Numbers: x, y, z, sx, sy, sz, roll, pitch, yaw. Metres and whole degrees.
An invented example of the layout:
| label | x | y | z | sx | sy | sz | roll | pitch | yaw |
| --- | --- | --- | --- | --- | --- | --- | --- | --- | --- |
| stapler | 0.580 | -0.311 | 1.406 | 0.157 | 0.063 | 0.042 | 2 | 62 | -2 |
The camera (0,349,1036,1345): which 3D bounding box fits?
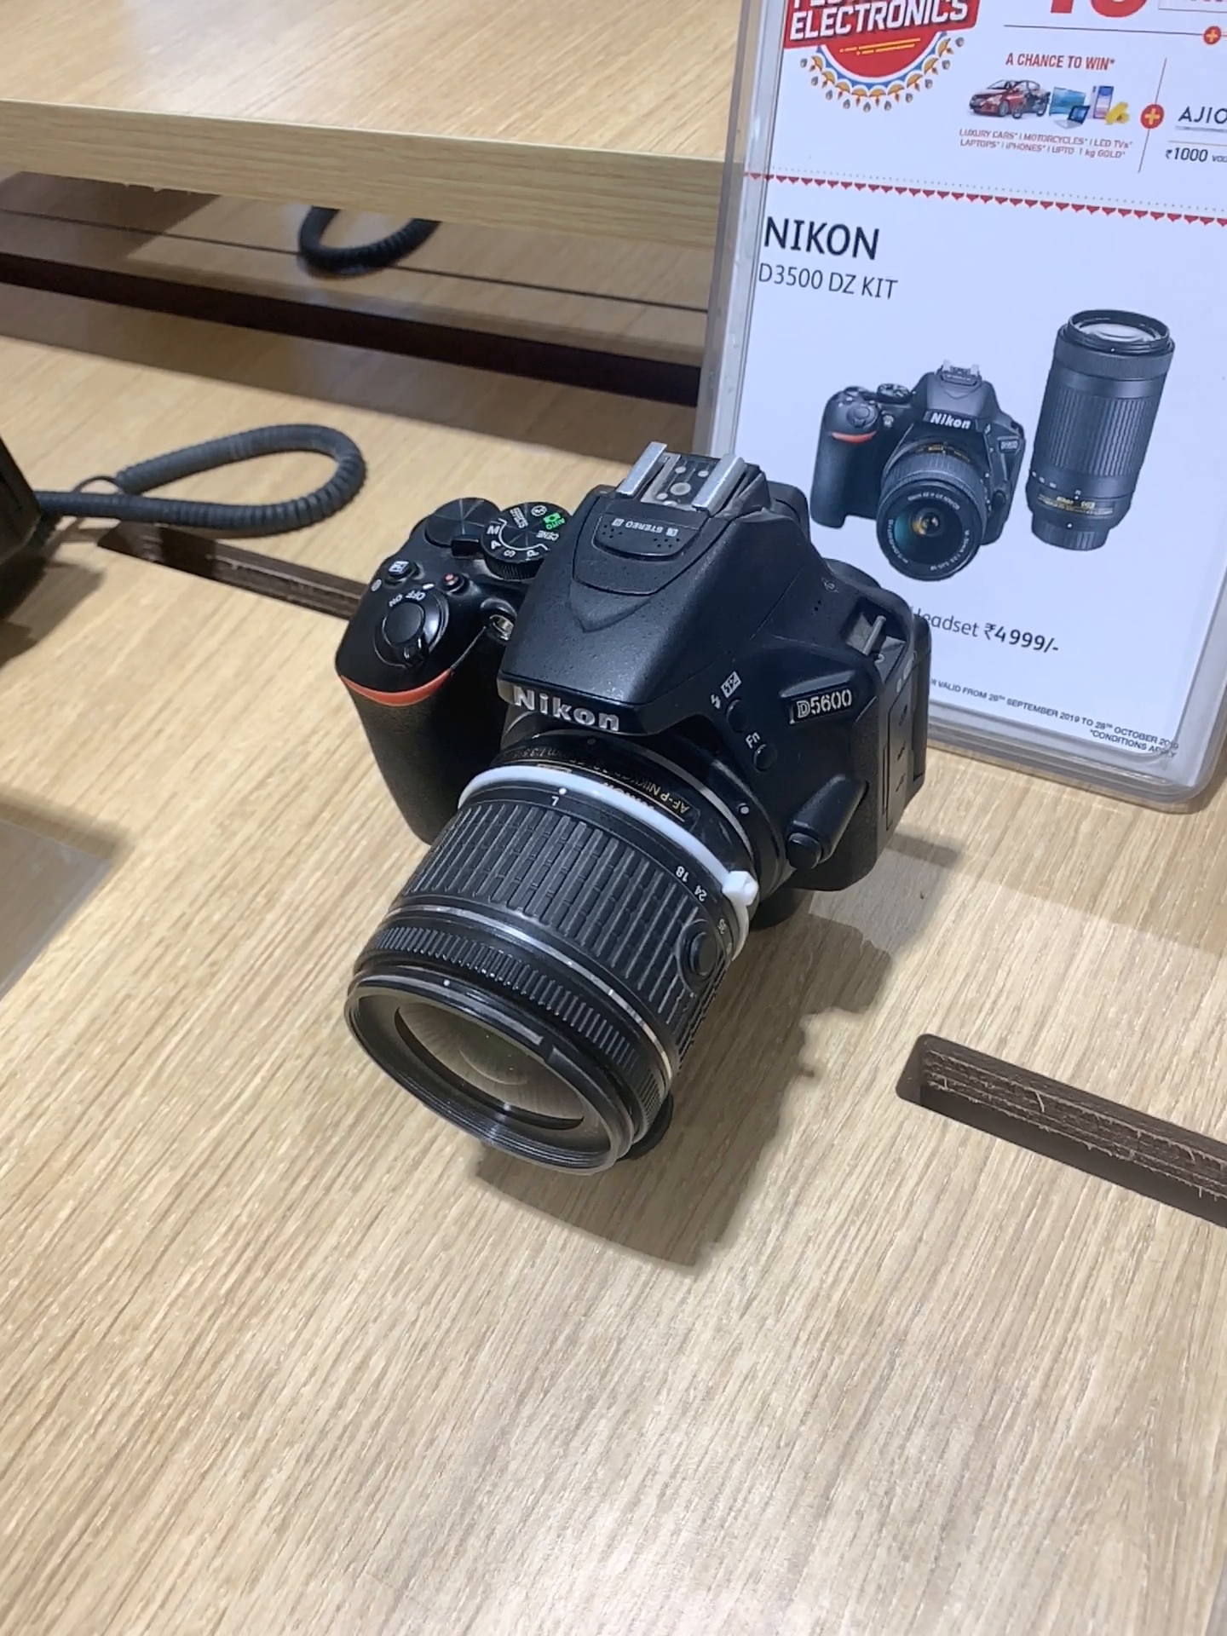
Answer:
| label | x | y | z | sx | sy | sz | roll | pitch | yaw |
| --- | --- | --- | --- | --- | --- | --- | --- | --- | --- |
| camera | -0.009 | -0.002 | 0.239 | 0.130 | 0.100 | 0.120 | 18 | 56 | 25 |
